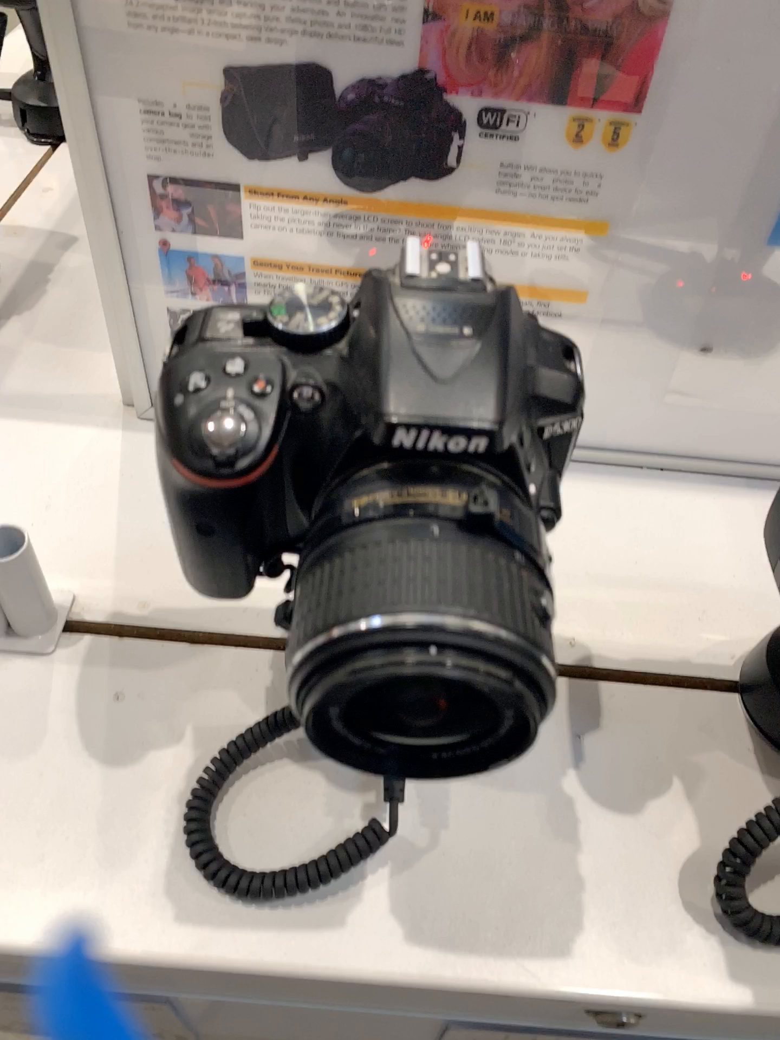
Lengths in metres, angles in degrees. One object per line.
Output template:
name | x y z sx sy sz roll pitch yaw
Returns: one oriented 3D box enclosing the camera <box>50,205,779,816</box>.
camera | 0.002 -0.009 0.203 0.120 0.069 0.141 2 47 -4
